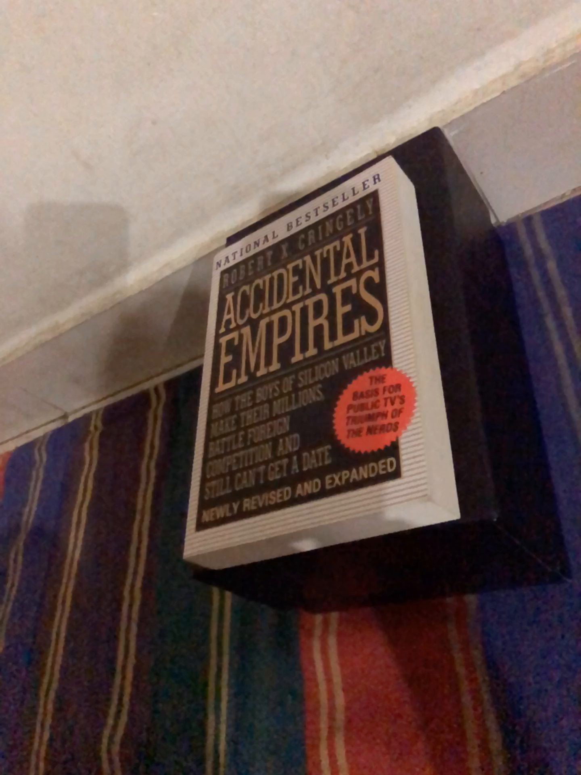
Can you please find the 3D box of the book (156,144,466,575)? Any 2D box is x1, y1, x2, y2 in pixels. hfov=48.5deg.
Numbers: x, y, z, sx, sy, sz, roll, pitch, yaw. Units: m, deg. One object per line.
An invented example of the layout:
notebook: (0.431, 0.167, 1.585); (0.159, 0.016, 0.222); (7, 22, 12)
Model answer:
book: (0.005, -0.016, 0.324); (0.130, 0.040, 0.190); (-20, 51, 30)
